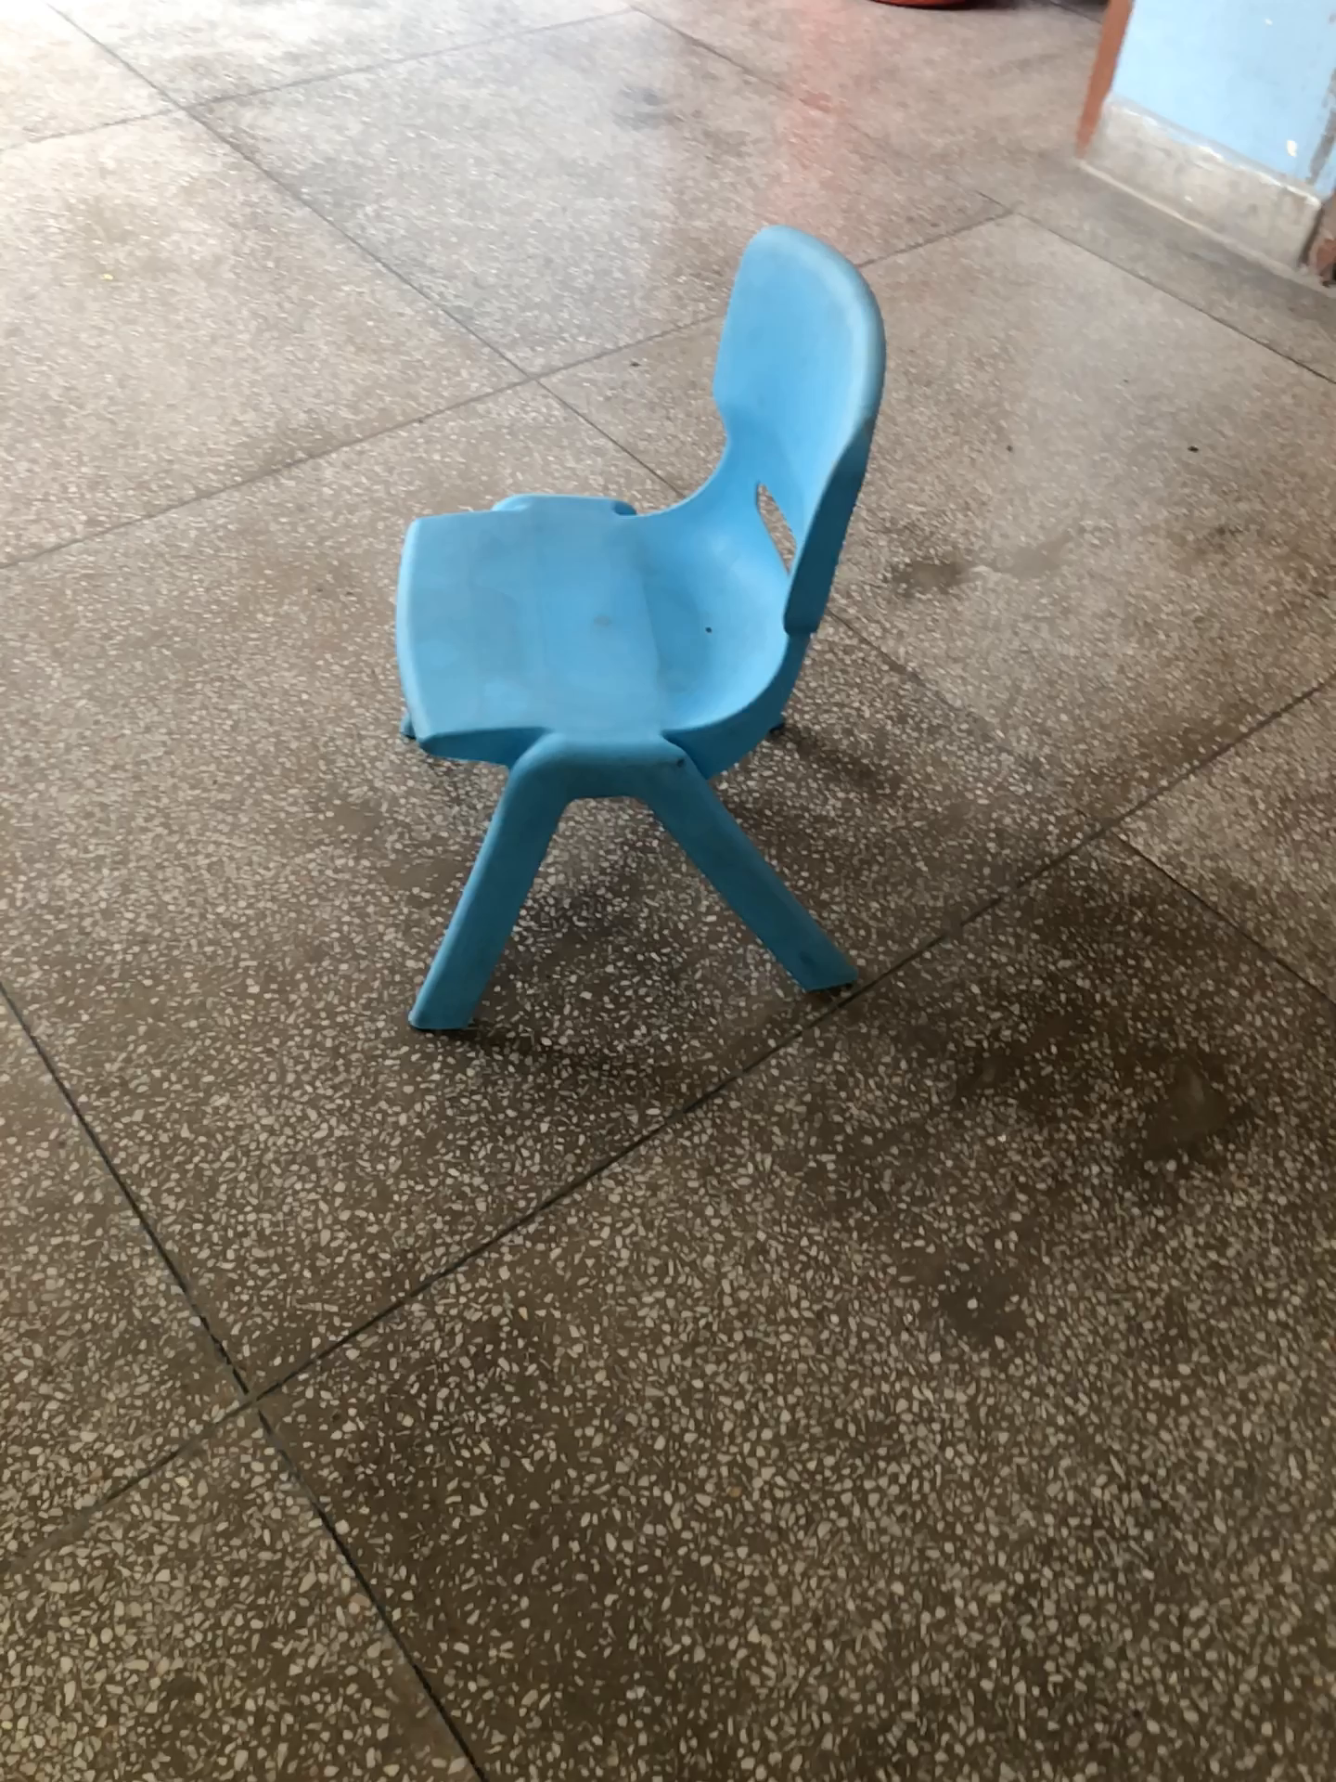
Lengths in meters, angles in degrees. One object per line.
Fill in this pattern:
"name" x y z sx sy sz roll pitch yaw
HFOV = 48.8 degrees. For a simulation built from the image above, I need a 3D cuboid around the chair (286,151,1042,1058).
"chair" -0.035 -0.194 1.062 0.390 0.499 0.381 -3 48 -8
